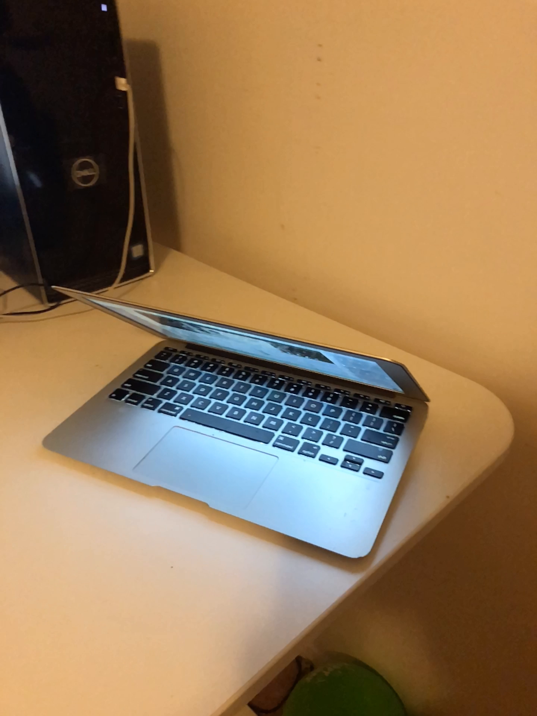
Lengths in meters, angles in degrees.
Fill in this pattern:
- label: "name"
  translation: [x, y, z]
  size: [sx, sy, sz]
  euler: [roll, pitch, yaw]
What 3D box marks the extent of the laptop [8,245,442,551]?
- label: "laptop"
  translation: [-0.025, 0.011, 0.497]
  size: [0.286, 0.108, 0.182]
  euler: [14, 36, 20]
